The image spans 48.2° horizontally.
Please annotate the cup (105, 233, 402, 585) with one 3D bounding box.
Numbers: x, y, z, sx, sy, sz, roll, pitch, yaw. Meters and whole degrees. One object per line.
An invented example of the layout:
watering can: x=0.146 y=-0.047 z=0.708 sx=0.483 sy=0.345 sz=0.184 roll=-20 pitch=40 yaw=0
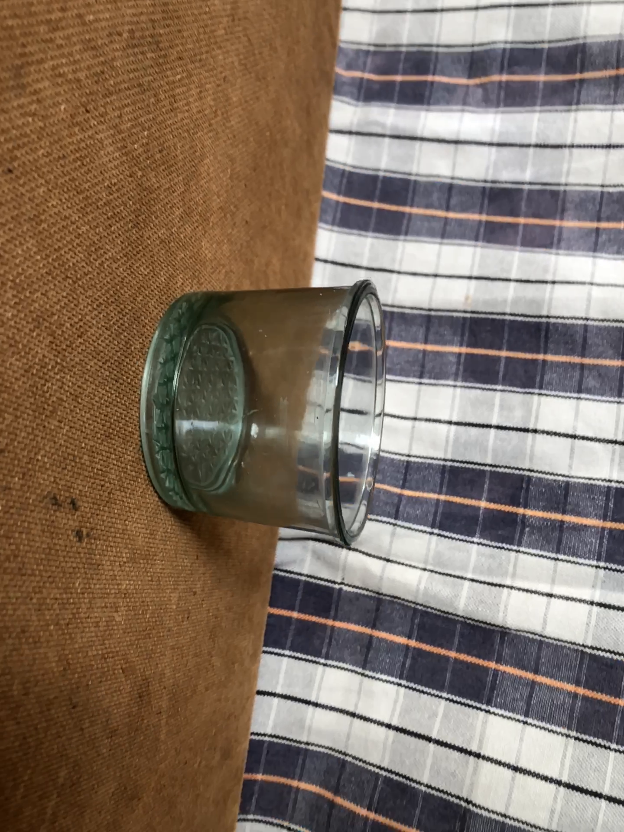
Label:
cup: x=-0.009 y=-0.004 z=0.217 sx=0.070 sy=0.060 sz=0.080 roll=78 pitch=21 yaw=-47
